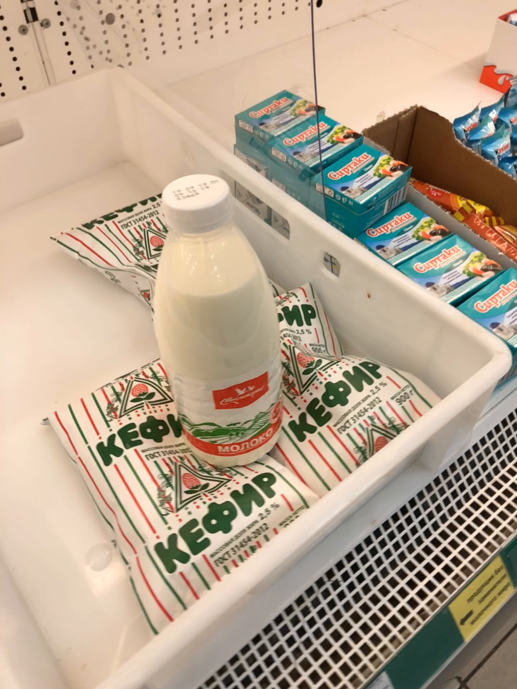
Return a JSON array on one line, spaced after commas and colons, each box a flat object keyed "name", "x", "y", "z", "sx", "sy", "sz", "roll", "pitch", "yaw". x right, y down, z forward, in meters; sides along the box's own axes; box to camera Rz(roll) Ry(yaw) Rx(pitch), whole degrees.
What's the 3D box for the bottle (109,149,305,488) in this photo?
[{"name": "bottle", "x": -0.027, "y": -0.007, "z": 0.397, "sx": 0.085, "sy": 0.216, "sz": 0.085, "roll": -2, "pitch": 46, "yaw": 2}]
